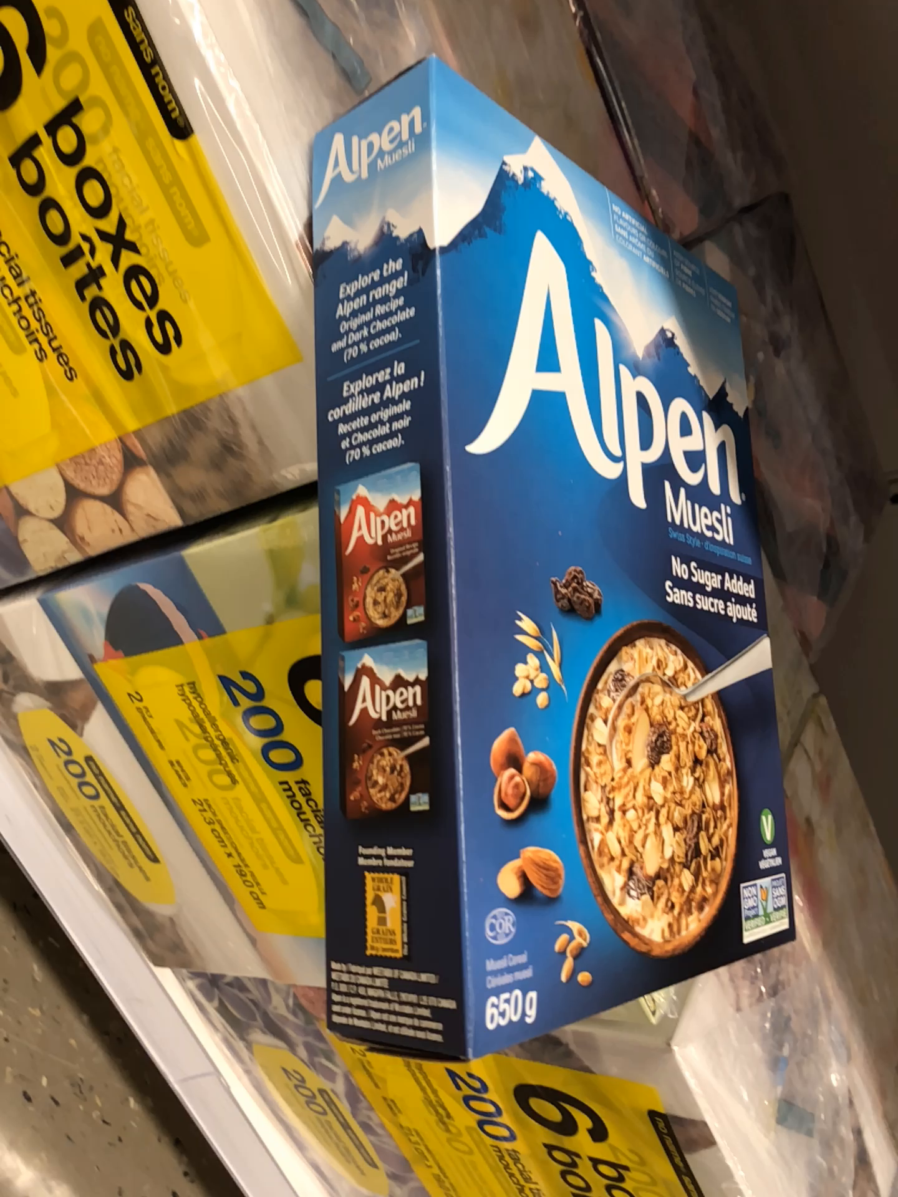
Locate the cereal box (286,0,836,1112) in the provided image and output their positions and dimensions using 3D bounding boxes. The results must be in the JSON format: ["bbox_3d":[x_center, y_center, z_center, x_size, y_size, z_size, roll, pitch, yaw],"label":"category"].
[{"bbox_3d":[0.045,-0.009,0.307,0.201,0.050,0.250,9,75,-49],"label":"cereal box"}]
